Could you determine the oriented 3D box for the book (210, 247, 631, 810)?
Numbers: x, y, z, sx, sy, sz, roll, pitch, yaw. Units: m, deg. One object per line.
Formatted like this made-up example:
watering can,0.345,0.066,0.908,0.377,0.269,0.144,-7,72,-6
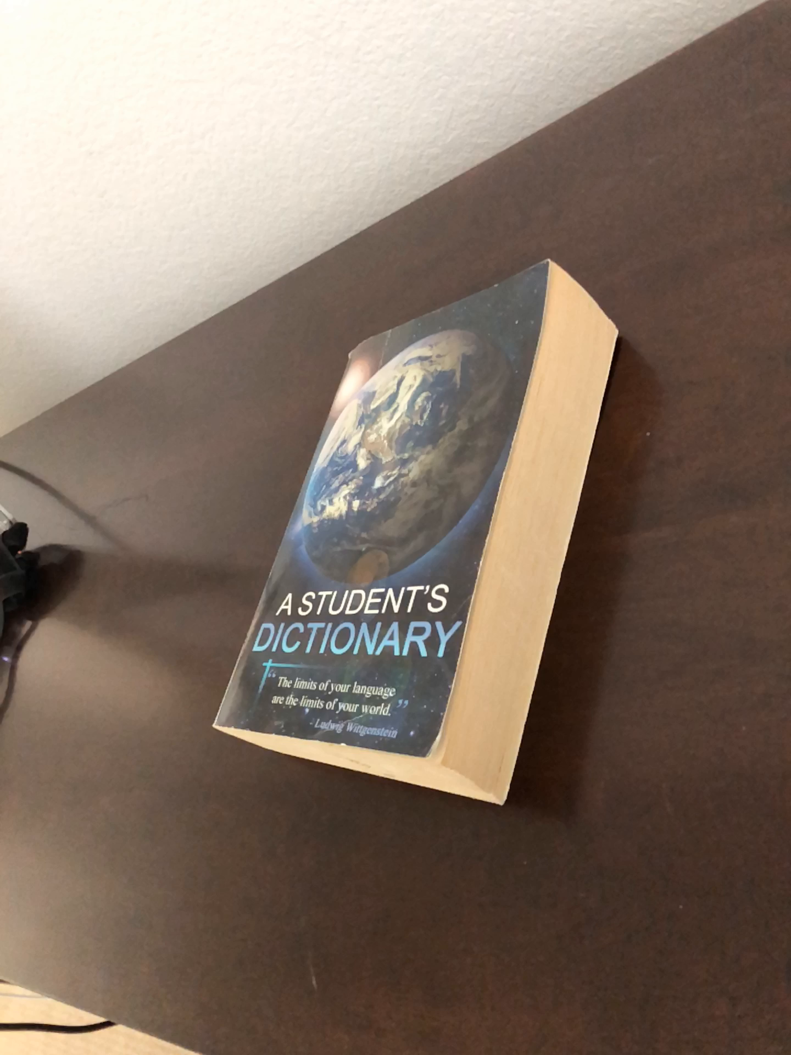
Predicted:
book,0.008,0.000,0.362,0.141,0.040,0.202,-11,55,51
